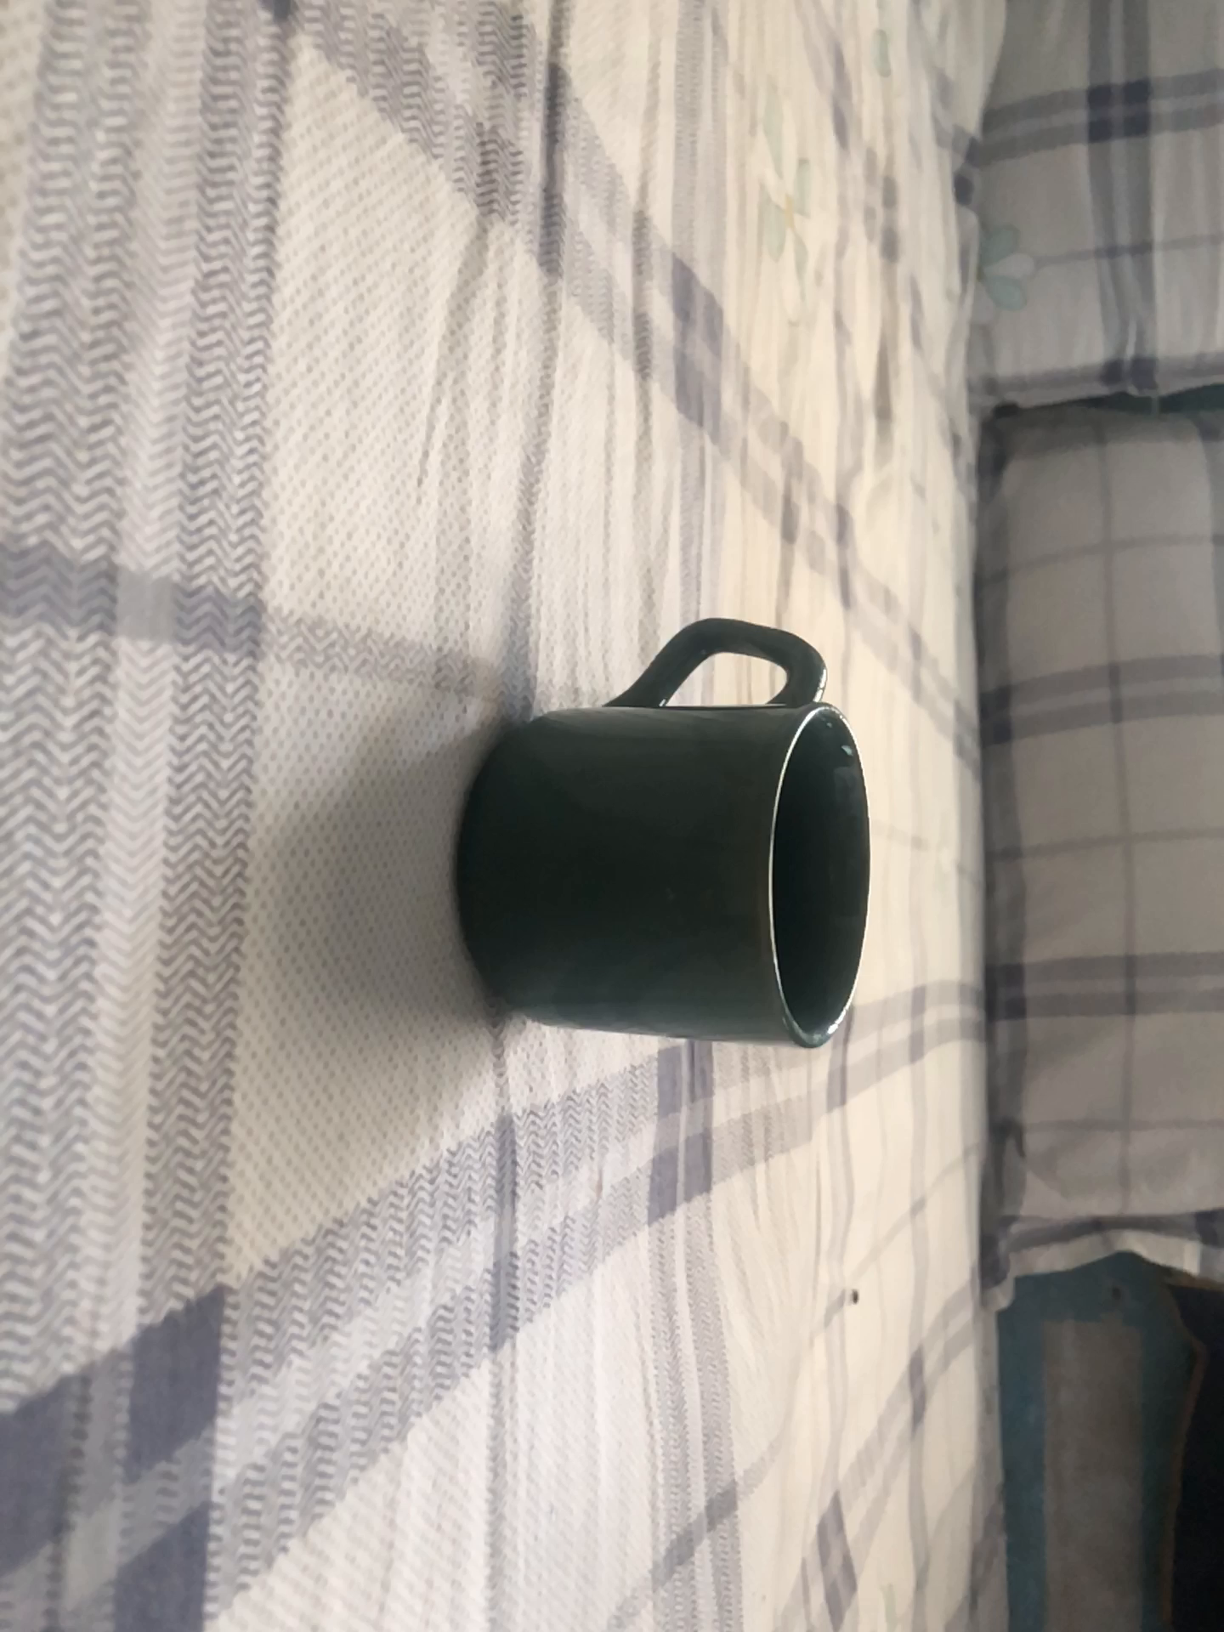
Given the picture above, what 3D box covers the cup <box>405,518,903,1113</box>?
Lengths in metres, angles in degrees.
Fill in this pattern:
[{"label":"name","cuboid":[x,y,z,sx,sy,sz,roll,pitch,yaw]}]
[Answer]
[{"label":"cup","cuboid":[0.015,-0.001,0.251,0.080,0.060,0.070,-69,150,-45]}]
